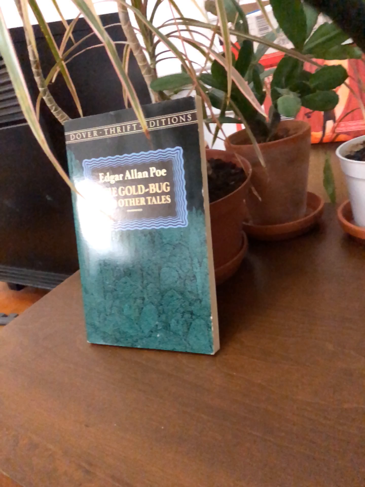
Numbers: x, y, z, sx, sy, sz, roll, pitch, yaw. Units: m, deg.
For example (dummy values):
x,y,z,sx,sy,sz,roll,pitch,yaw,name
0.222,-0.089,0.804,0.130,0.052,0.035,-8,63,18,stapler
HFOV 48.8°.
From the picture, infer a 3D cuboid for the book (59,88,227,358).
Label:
x,y,z,sx,sy,sz,roll,pitch,yaw,name
-0.038,-0.012,0.353,0.140,0.210,0.020,-2,5,26,book
